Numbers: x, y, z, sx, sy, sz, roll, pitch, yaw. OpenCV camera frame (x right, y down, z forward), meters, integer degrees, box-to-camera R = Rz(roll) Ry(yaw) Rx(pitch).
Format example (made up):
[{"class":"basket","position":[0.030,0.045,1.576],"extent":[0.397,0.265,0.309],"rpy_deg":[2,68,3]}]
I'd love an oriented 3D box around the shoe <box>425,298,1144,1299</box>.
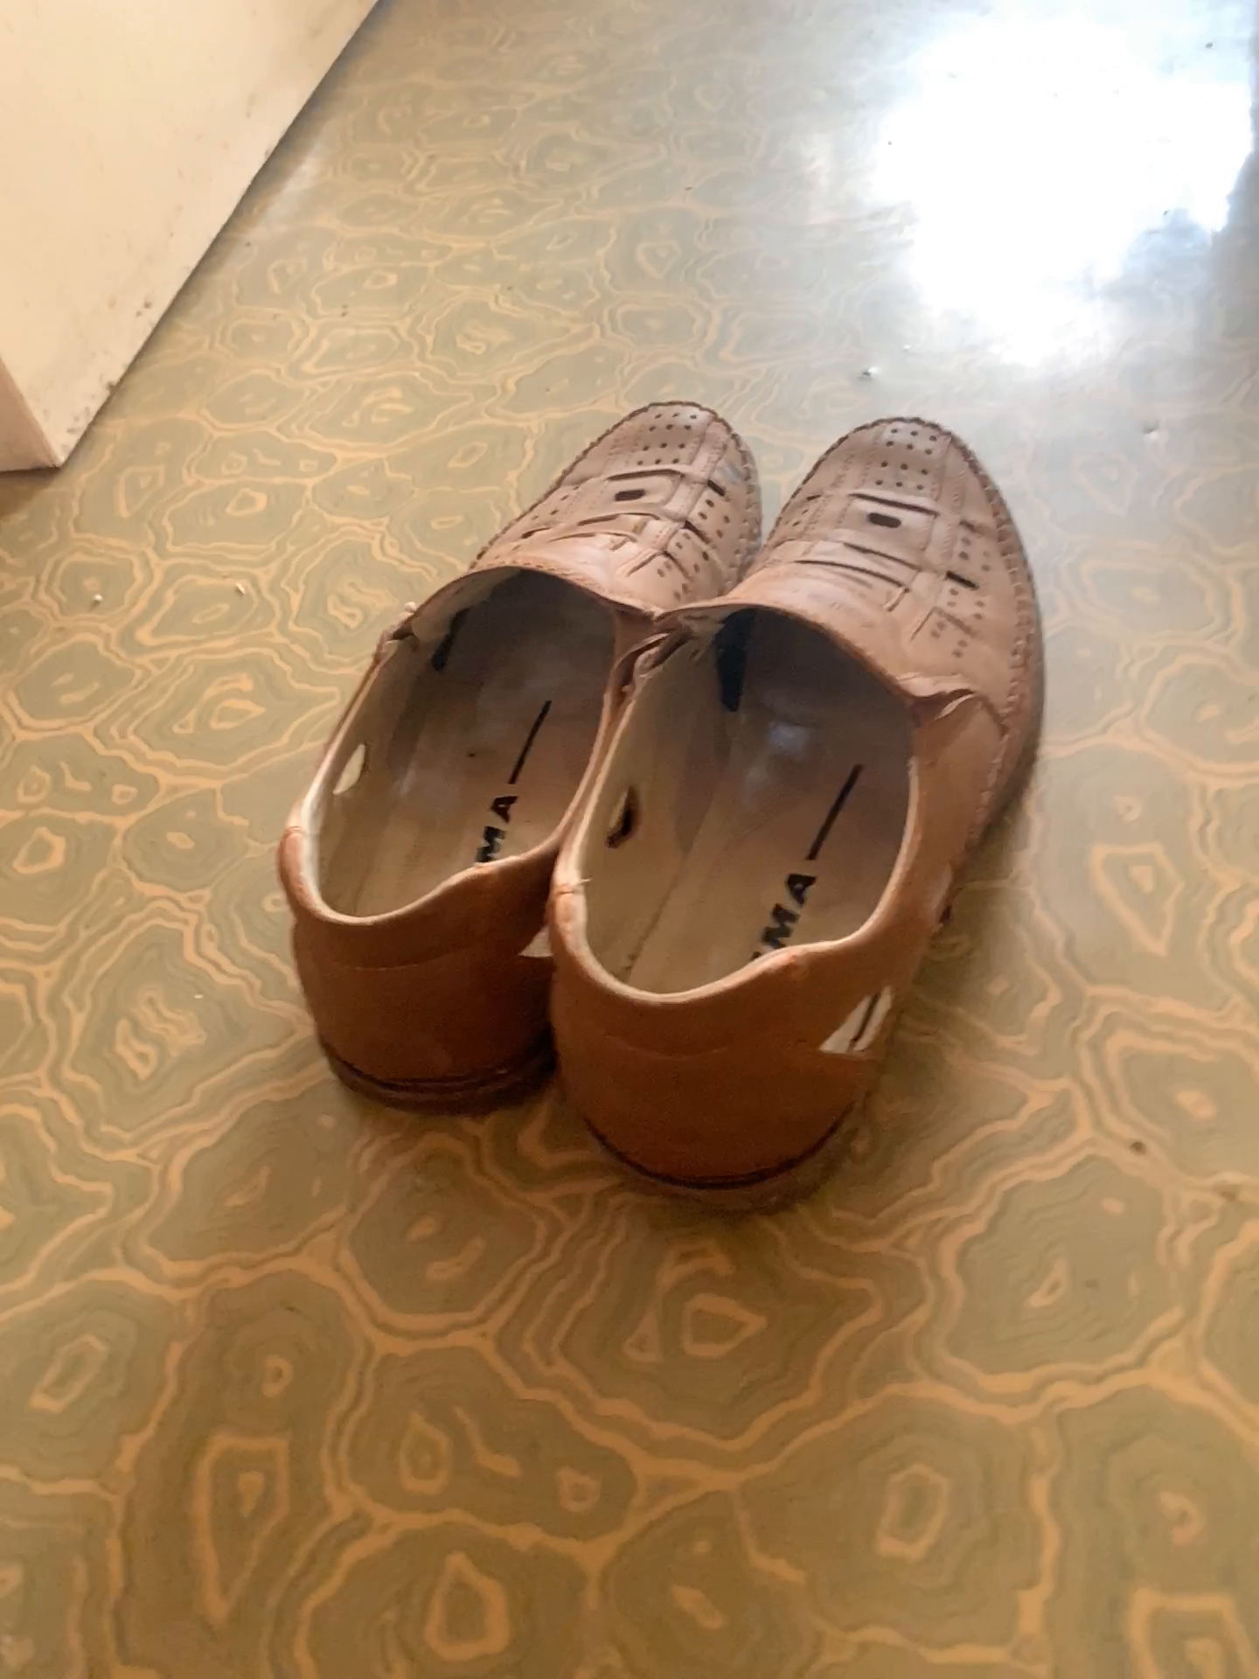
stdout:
[{"class":"shoe","position":[0.064,-0.039,0.370],"extent":[0.110,0.079,0.292],"rpy_deg":[11,53,19]}]

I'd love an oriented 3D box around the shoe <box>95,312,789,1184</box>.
[{"class":"shoe","position":[-0.033,-0.052,0.411],"extent":[0.100,0.079,0.292],"rpy_deg":[8,52,17]}]
